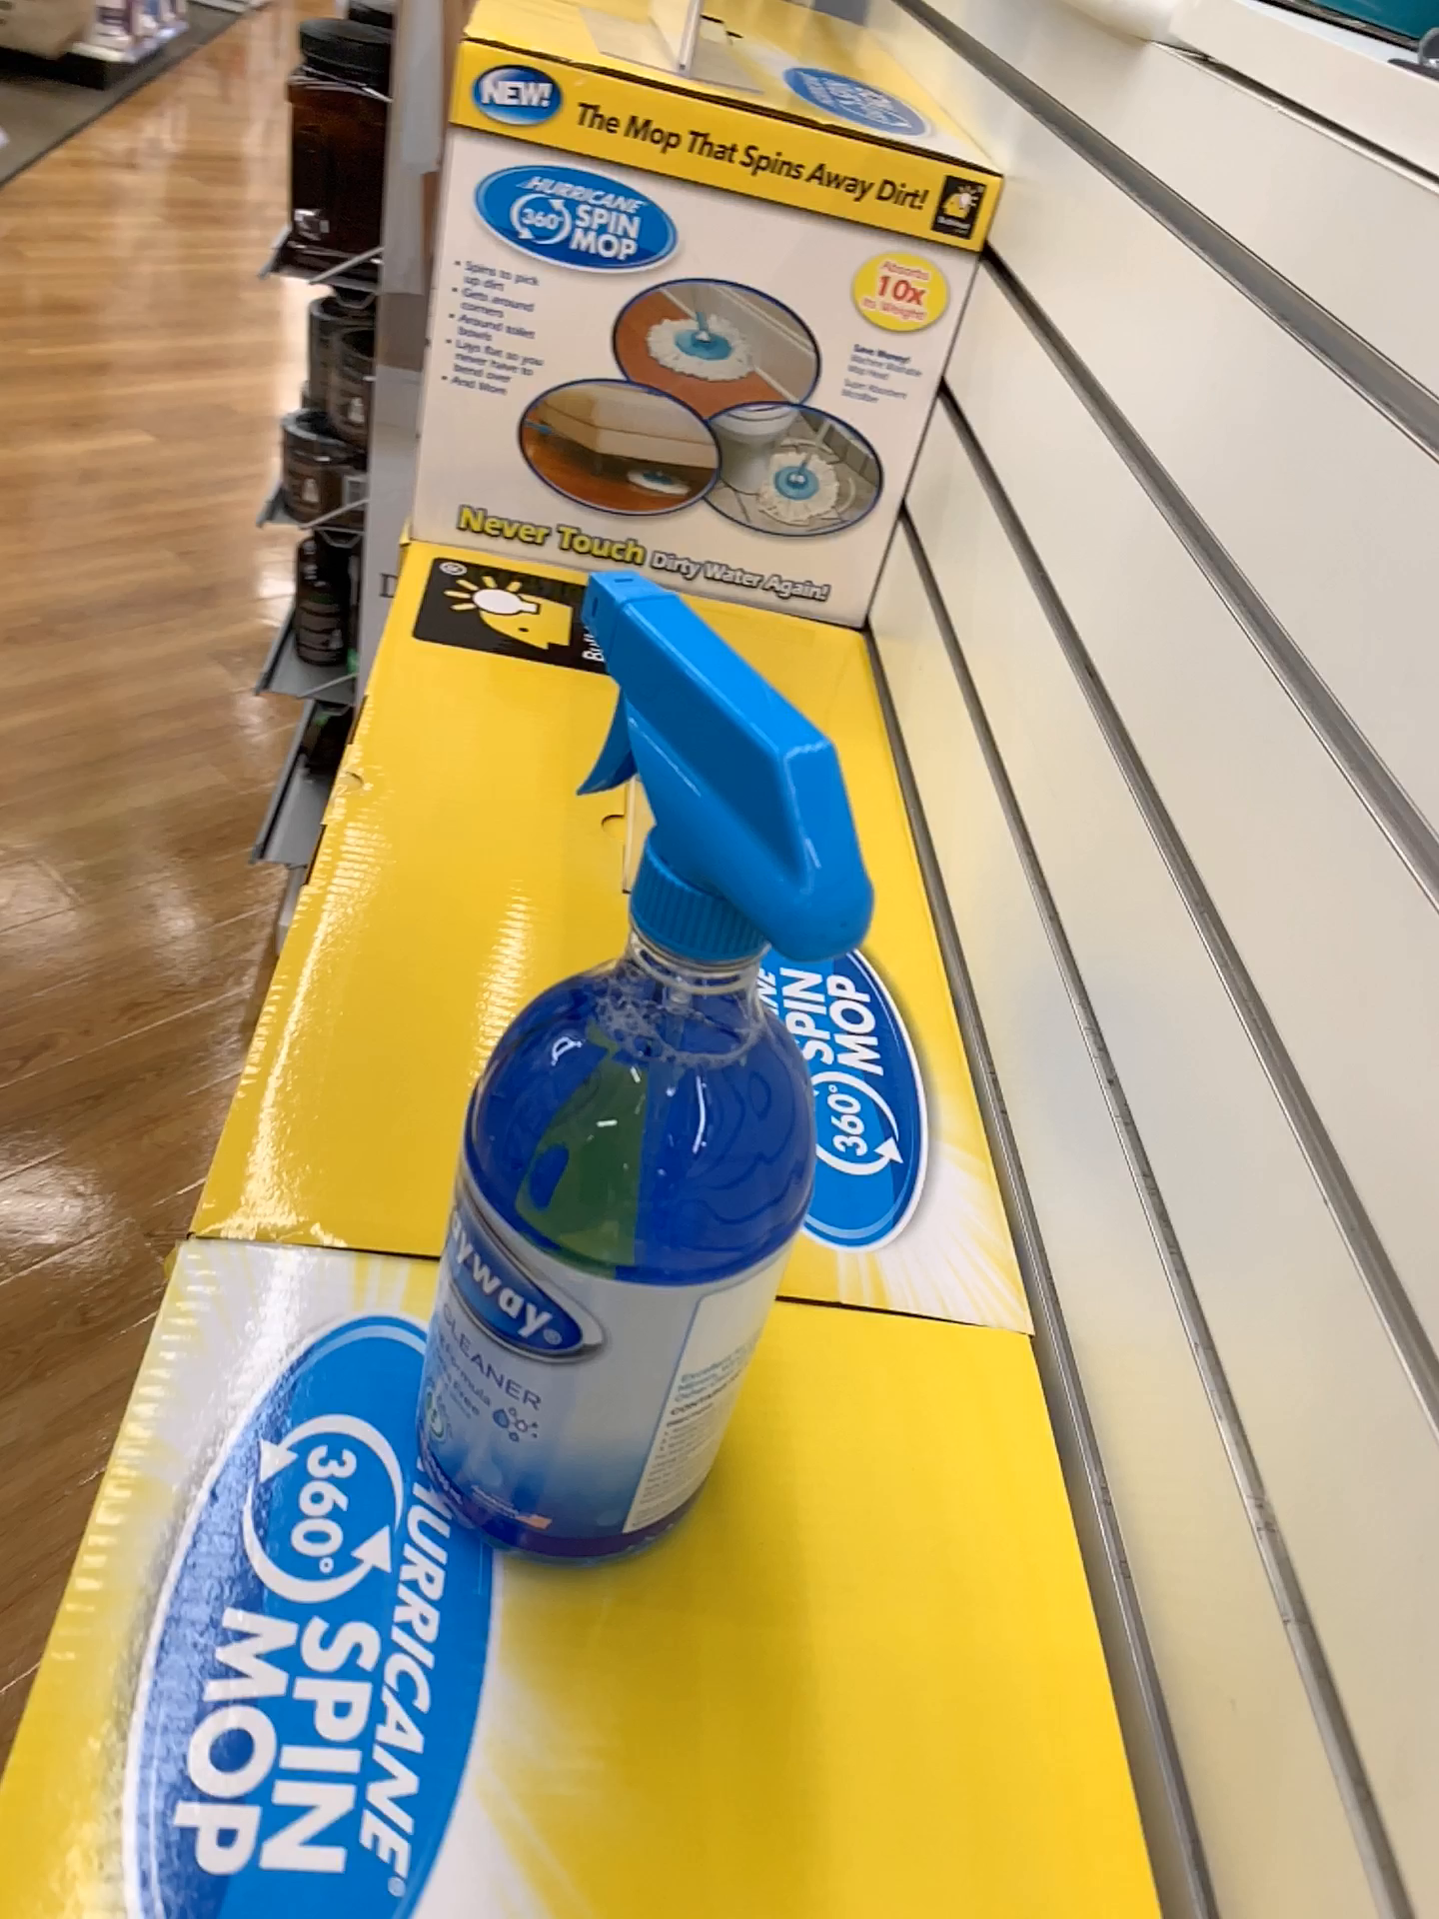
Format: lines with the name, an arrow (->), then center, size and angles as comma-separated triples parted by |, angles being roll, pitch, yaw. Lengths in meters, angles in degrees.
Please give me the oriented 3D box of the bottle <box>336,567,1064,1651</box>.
bottle -> -0.027, 0.043, 0.356 | 0.090, 0.239, 0.110 | -5, 42, -26
